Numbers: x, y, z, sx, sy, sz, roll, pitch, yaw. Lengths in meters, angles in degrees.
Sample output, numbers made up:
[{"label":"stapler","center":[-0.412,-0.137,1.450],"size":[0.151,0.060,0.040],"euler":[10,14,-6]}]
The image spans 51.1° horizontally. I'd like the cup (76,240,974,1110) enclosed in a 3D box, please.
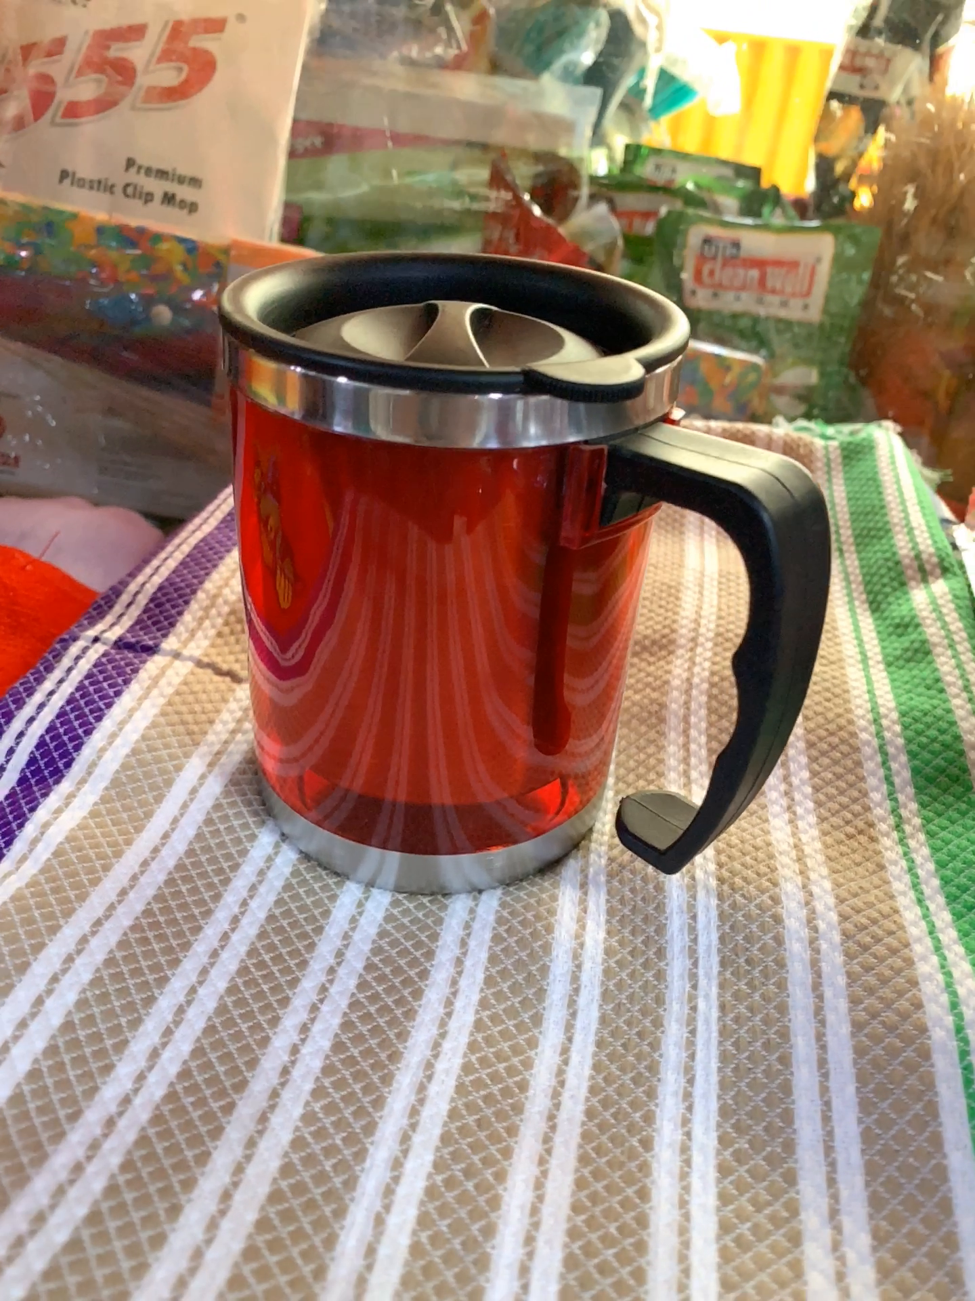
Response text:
[{"label":"cup","center":[0.006,-0.013,0.205],"size":[0.130,0.102,0.100],"euler":[26,36,31]}]
